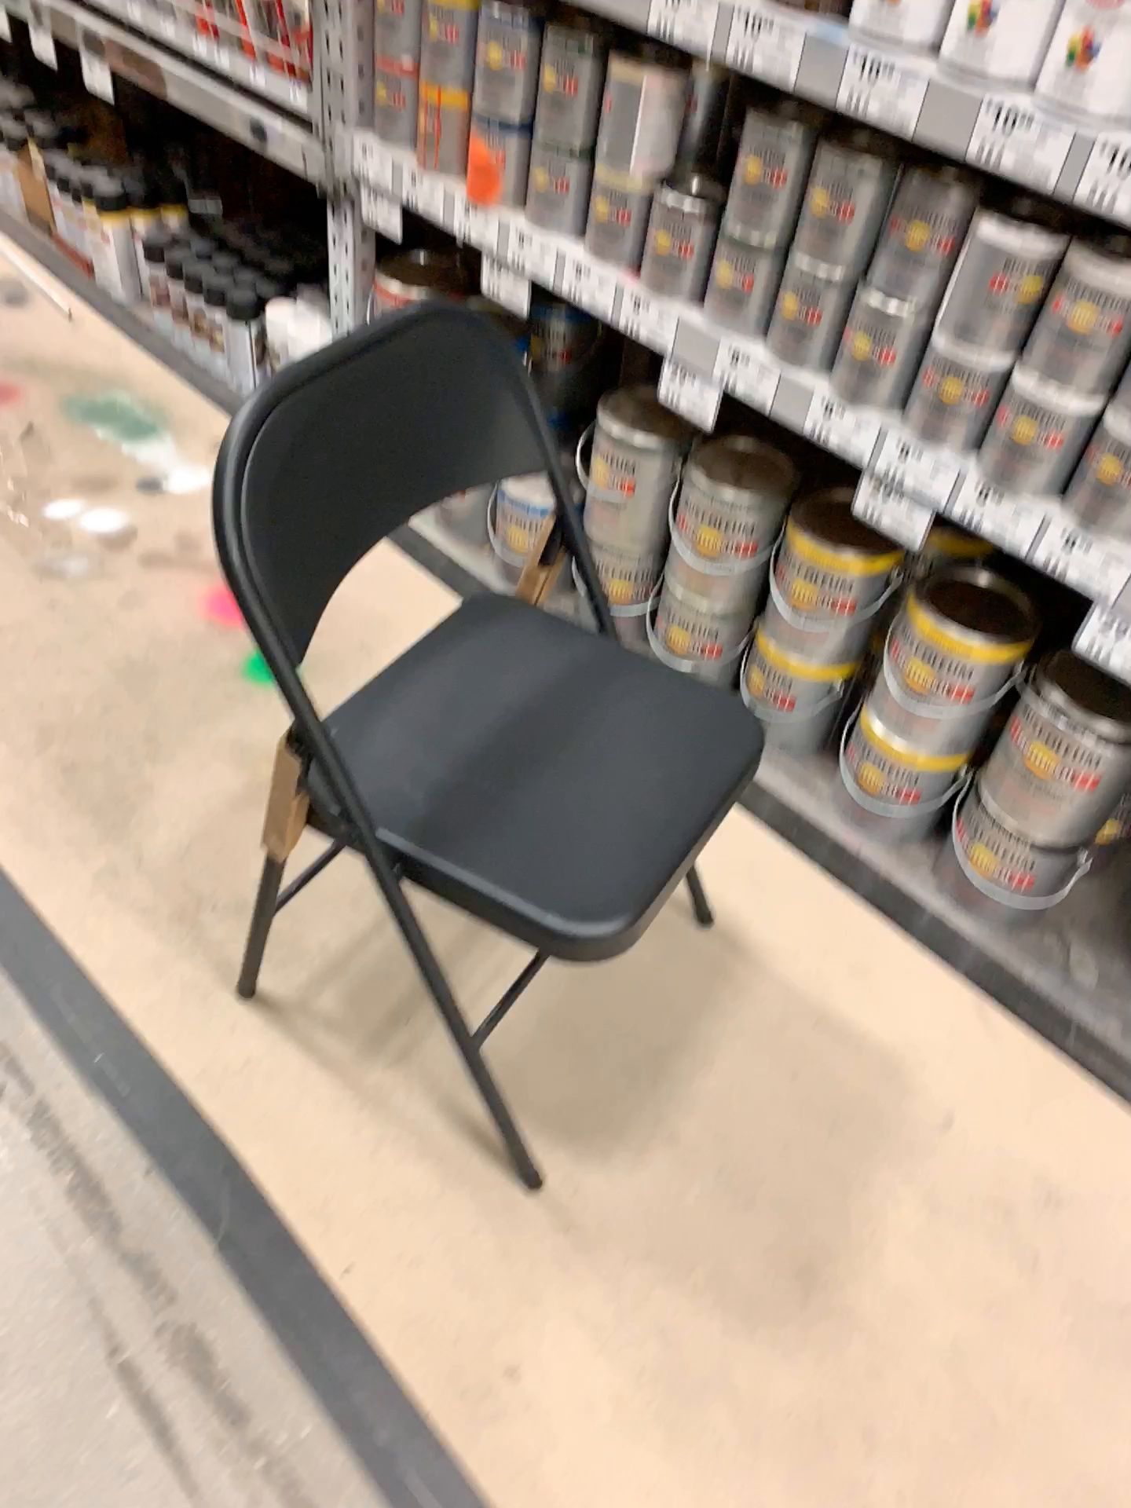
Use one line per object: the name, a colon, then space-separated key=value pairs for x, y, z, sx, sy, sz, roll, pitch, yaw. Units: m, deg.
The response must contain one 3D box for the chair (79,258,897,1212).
chair: x=-0.075 y=-0.006 z=1.165 sx=0.475 sy=0.713 sz=0.453 roll=28 pitch=48 yaw=19
